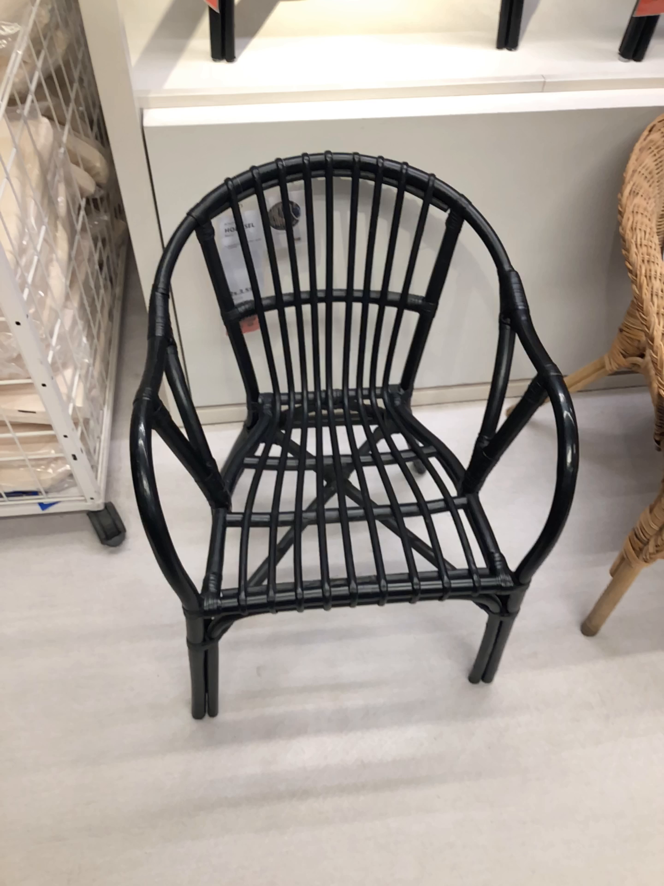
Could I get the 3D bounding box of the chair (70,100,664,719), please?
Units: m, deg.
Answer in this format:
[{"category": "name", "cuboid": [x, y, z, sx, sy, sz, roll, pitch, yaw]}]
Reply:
[{"category": "chair", "cuboid": [0.032, 0.011, 1.037, 0.550, 0.756, 0.473, -4, 53, -5]}]
